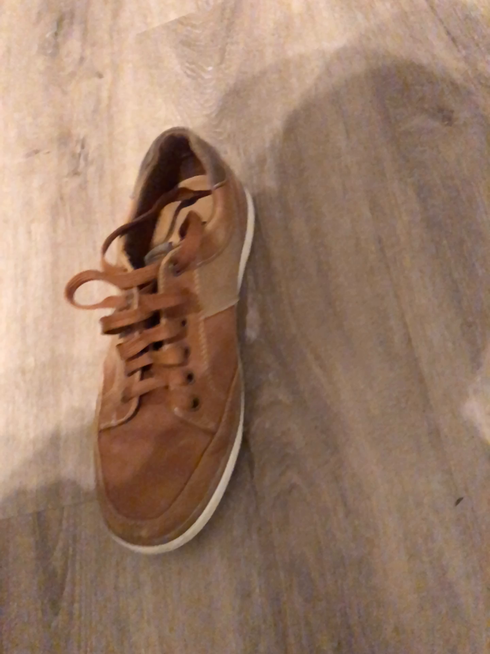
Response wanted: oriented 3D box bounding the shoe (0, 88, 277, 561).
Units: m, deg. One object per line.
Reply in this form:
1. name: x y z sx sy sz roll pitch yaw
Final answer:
1. shoe: -0.056 -0.004 0.361 0.110 0.100 0.280 0 68 17
